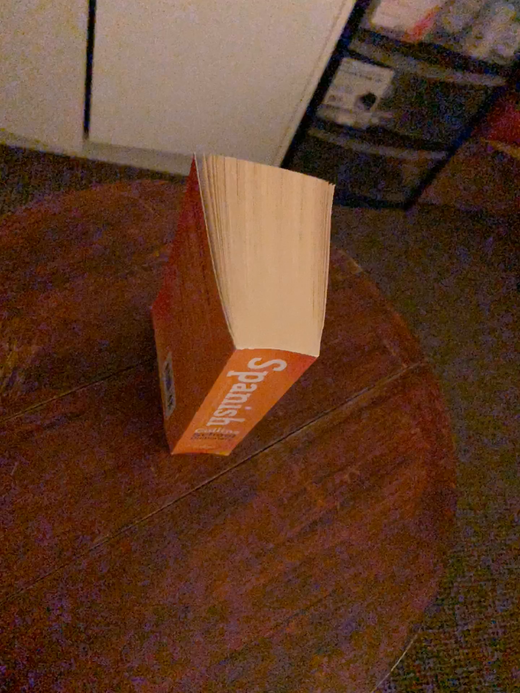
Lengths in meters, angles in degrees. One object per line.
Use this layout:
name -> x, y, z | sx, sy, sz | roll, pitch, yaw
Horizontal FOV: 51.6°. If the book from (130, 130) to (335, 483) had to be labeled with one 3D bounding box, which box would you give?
book -> -0.016, -0.011, 0.314 | 0.080, 0.149, 0.141 | 8, 63, -5
